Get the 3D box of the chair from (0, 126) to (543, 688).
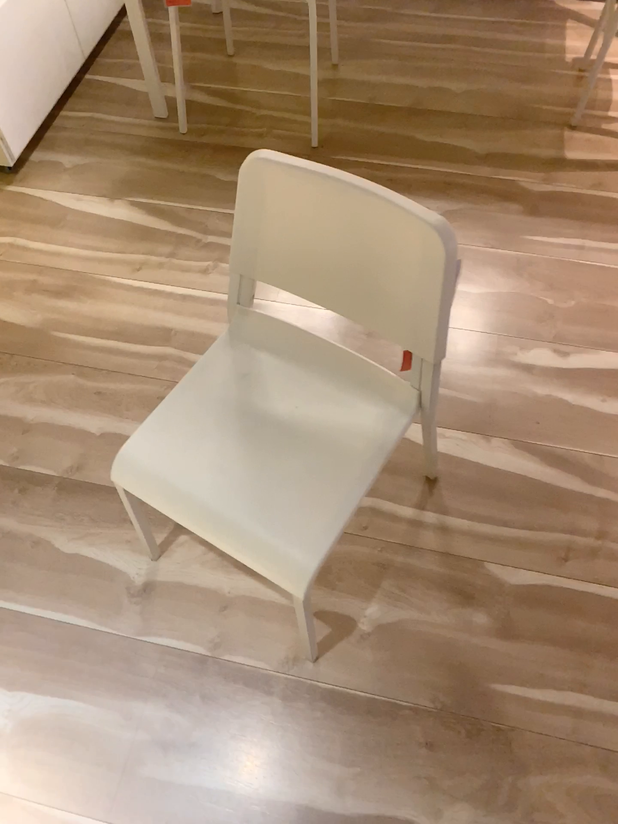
[{"bbox_3d":[-0.036,0.041,1.113,0.520,0.708,0.551,27,64,17],"label":"chair"}]
